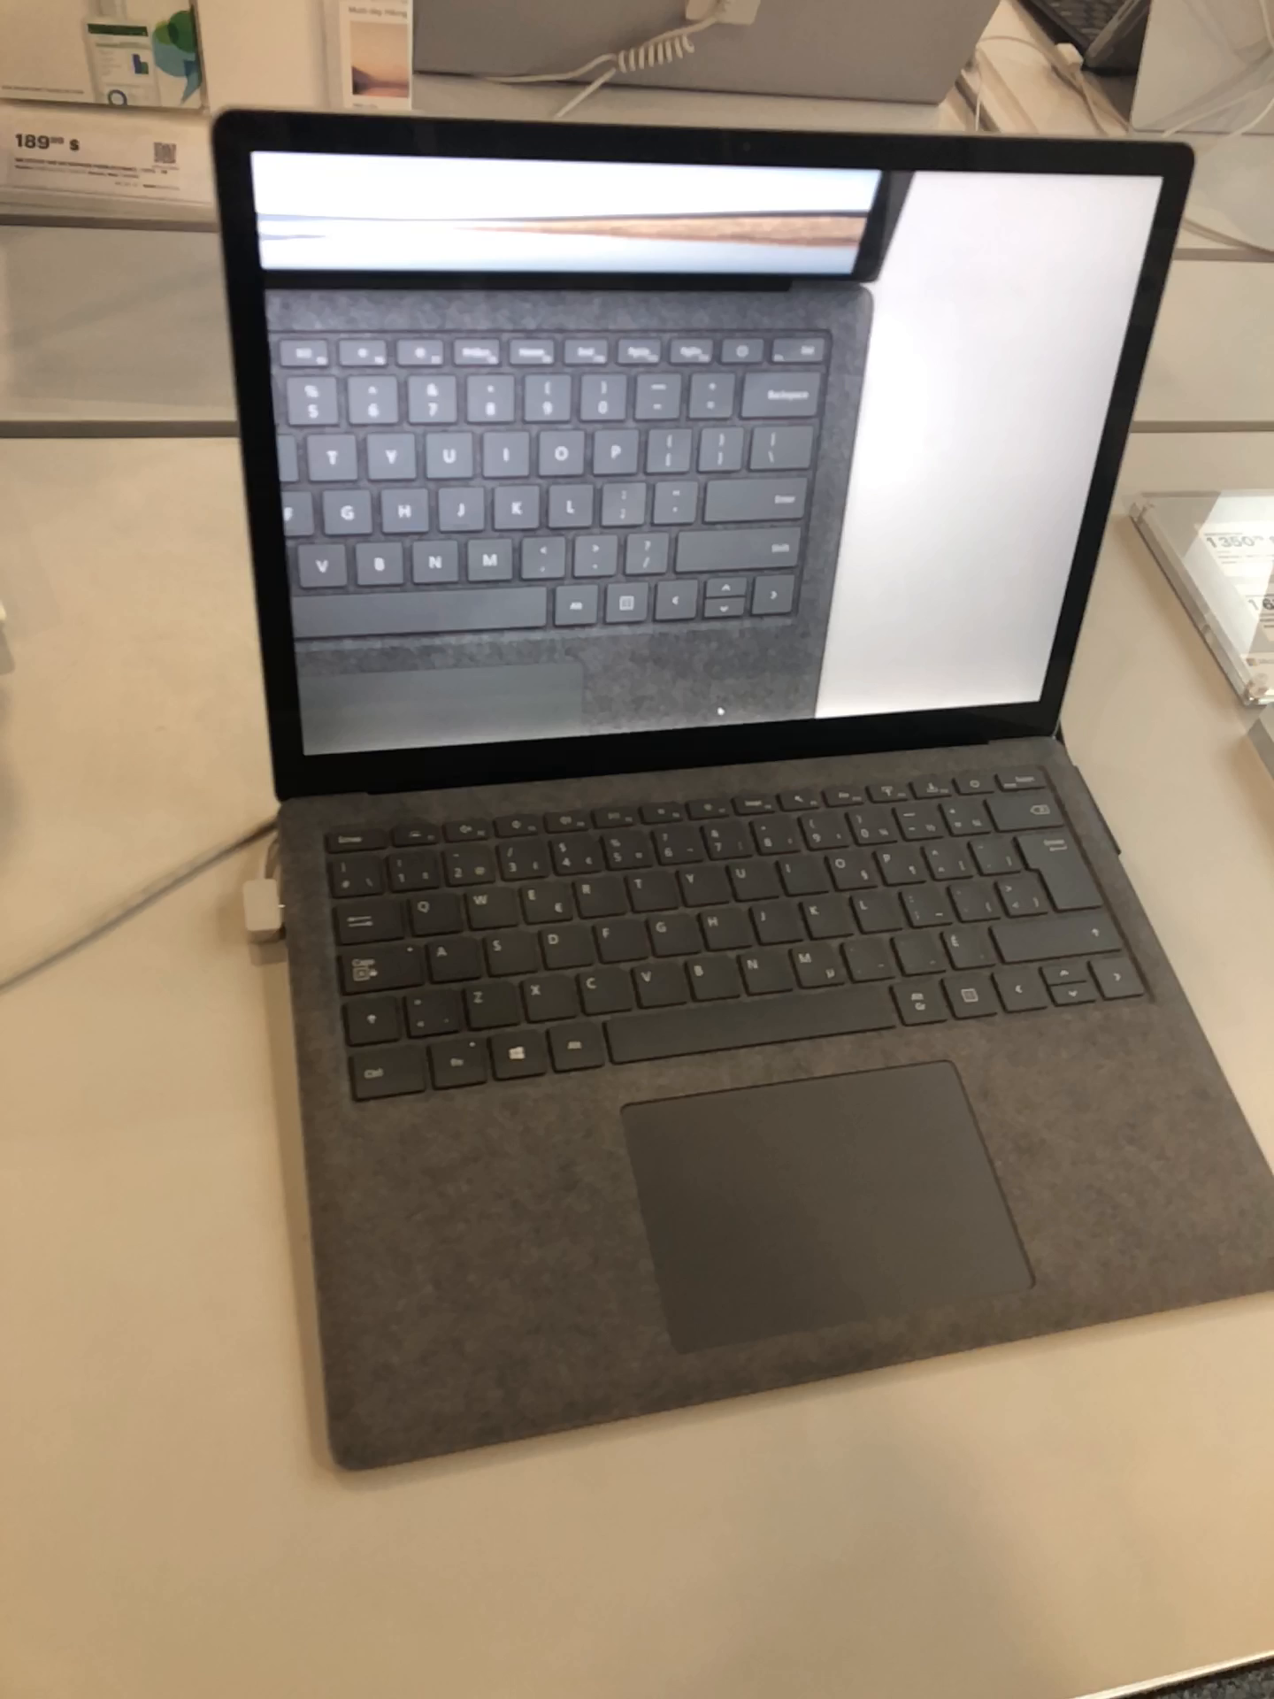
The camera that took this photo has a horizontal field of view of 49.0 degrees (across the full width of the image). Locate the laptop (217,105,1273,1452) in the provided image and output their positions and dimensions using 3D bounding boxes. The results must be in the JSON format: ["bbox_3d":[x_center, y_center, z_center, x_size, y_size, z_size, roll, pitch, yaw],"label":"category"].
[{"bbox_3d":[0.049,-0.033,0.407,0.297,0.197,0.295,-5,55,-14],"label":"laptop"}]
